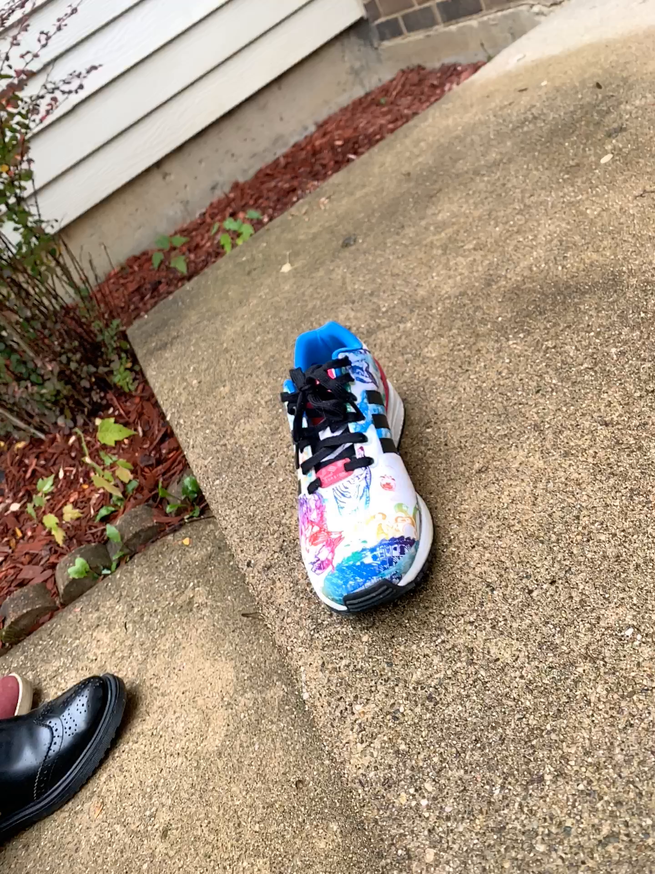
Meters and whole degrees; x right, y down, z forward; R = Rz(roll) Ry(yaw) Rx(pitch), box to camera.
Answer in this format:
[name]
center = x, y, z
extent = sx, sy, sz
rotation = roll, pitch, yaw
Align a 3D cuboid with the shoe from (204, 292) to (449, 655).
[shoe]
center = 0.005, 0.012, 0.501
extent = 0.110, 0.104, 0.246
rotation = -23, 33, 18
